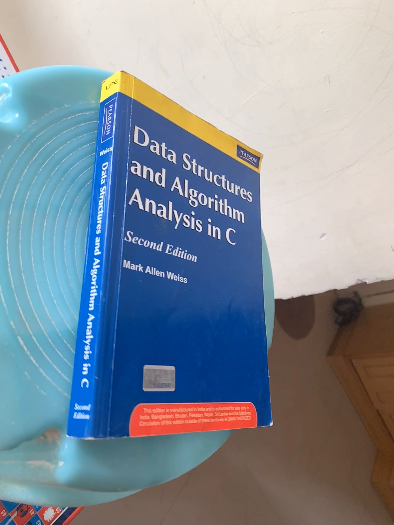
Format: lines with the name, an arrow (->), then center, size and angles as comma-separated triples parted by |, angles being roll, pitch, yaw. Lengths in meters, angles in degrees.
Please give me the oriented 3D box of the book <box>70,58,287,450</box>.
book -> 0.001, -0.002, 0.300 | 0.161, 0.030, 0.240 | 16, 67, -41
